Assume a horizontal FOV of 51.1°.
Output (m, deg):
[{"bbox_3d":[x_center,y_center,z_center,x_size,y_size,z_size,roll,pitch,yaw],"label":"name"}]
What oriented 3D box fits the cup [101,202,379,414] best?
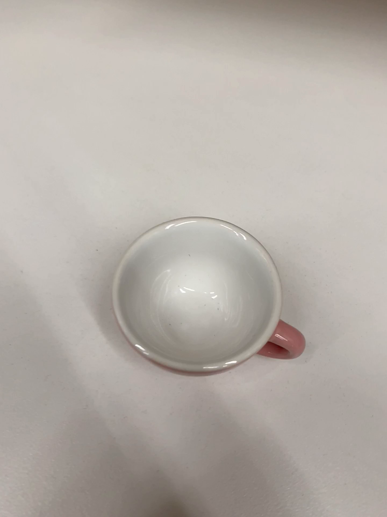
[{"bbox_3d":[0.014,0.017,0.128,0.070,0.040,0.040,12,60,5],"label":"cup"}]
